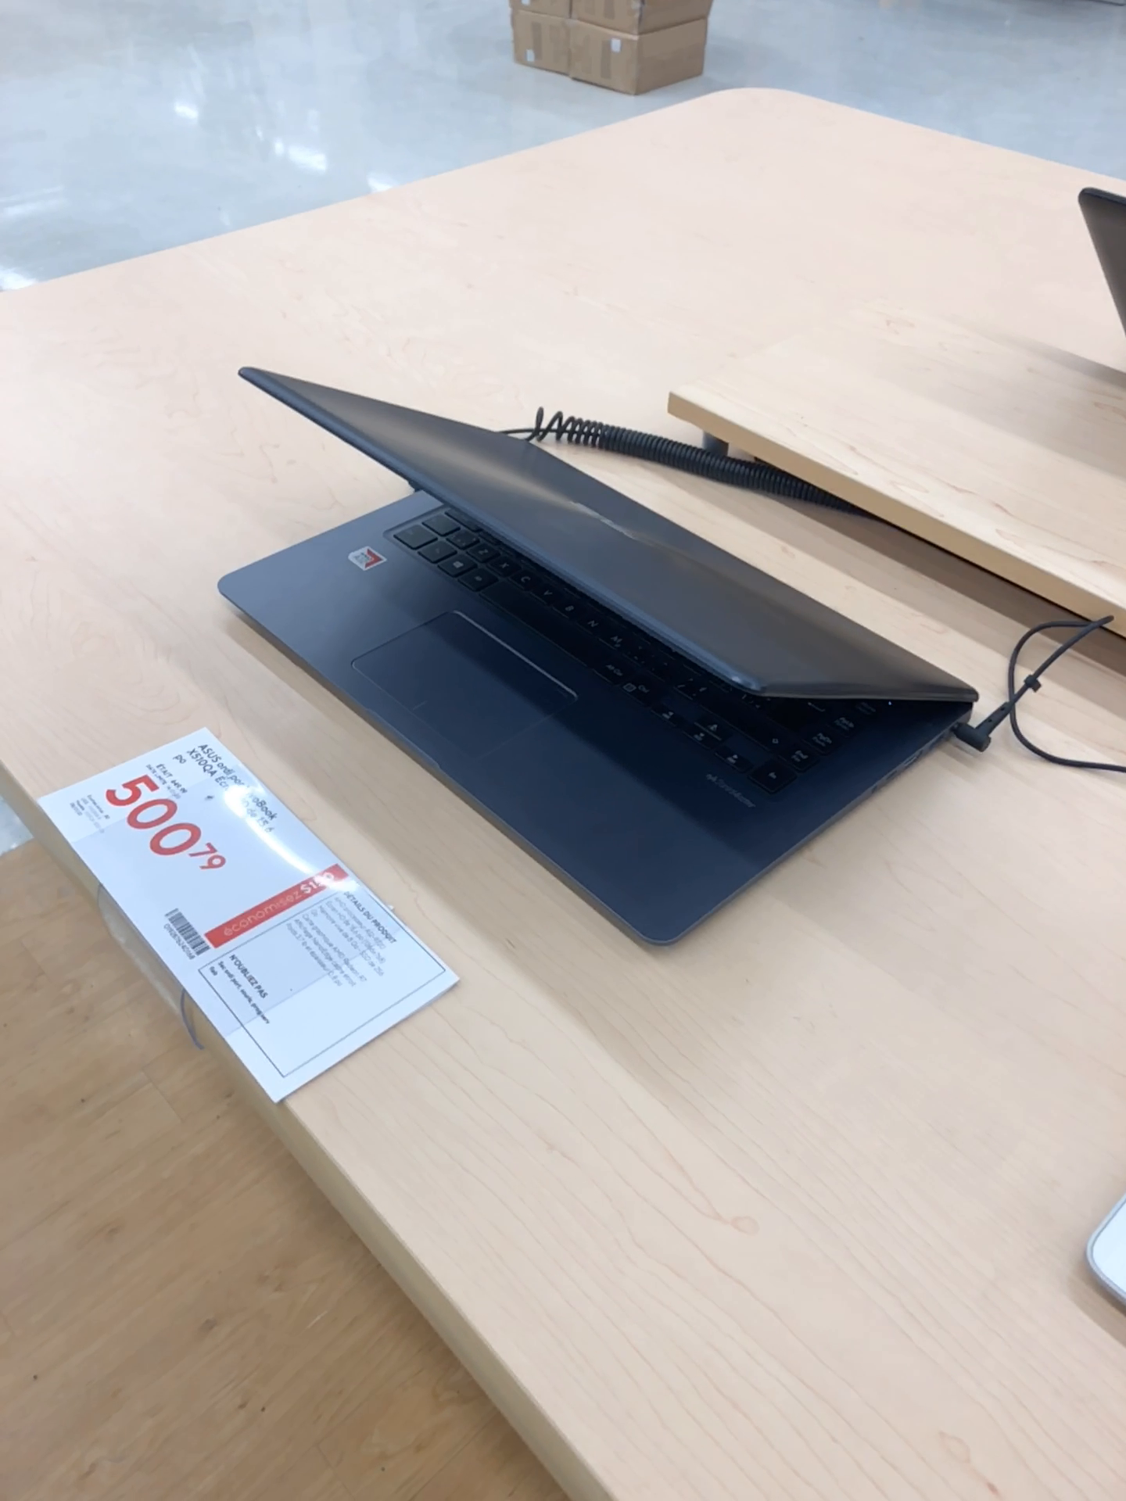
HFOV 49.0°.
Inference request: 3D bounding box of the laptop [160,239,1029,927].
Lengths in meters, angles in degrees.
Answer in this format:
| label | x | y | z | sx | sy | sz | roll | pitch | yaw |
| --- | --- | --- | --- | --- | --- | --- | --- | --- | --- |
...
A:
| label | x | y | z | sx | sy | sz | roll | pitch | yaw |
| --- | --- | --- | --- | --- | --- | --- | --- | --- | --- |
| laptop | 0.005 | -0.114 | 0.634 | 0.232 | 0.136 | 0.346 | -32 | 53 | -31 |
